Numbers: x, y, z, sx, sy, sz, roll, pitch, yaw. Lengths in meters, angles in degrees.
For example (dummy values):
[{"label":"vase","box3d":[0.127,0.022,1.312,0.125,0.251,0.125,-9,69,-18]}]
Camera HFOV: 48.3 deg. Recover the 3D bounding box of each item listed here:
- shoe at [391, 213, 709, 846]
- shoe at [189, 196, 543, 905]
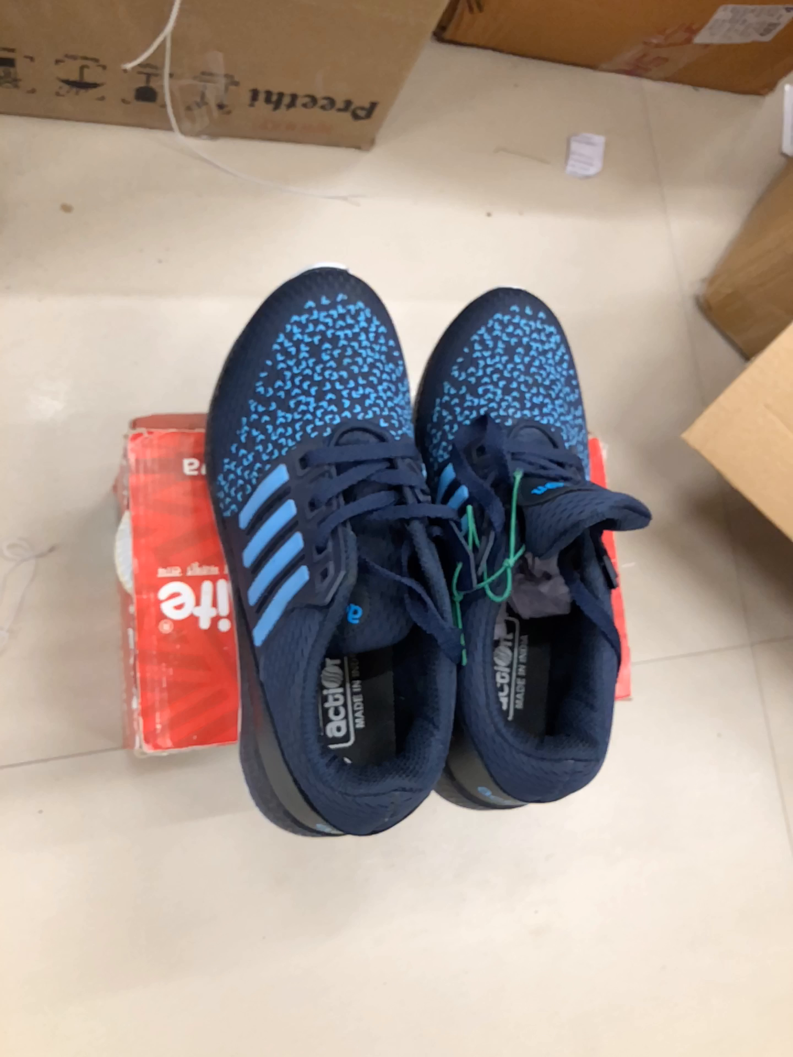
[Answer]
[{"label":"shoe","box3d":[0.064,0.006,0.437,0.093,0.133,0.263,5,78,-19]},{"label":"shoe","box3d":[-0.027,0.010,0.403,0.101,0.133,0.263,-2,80,-21]}]
